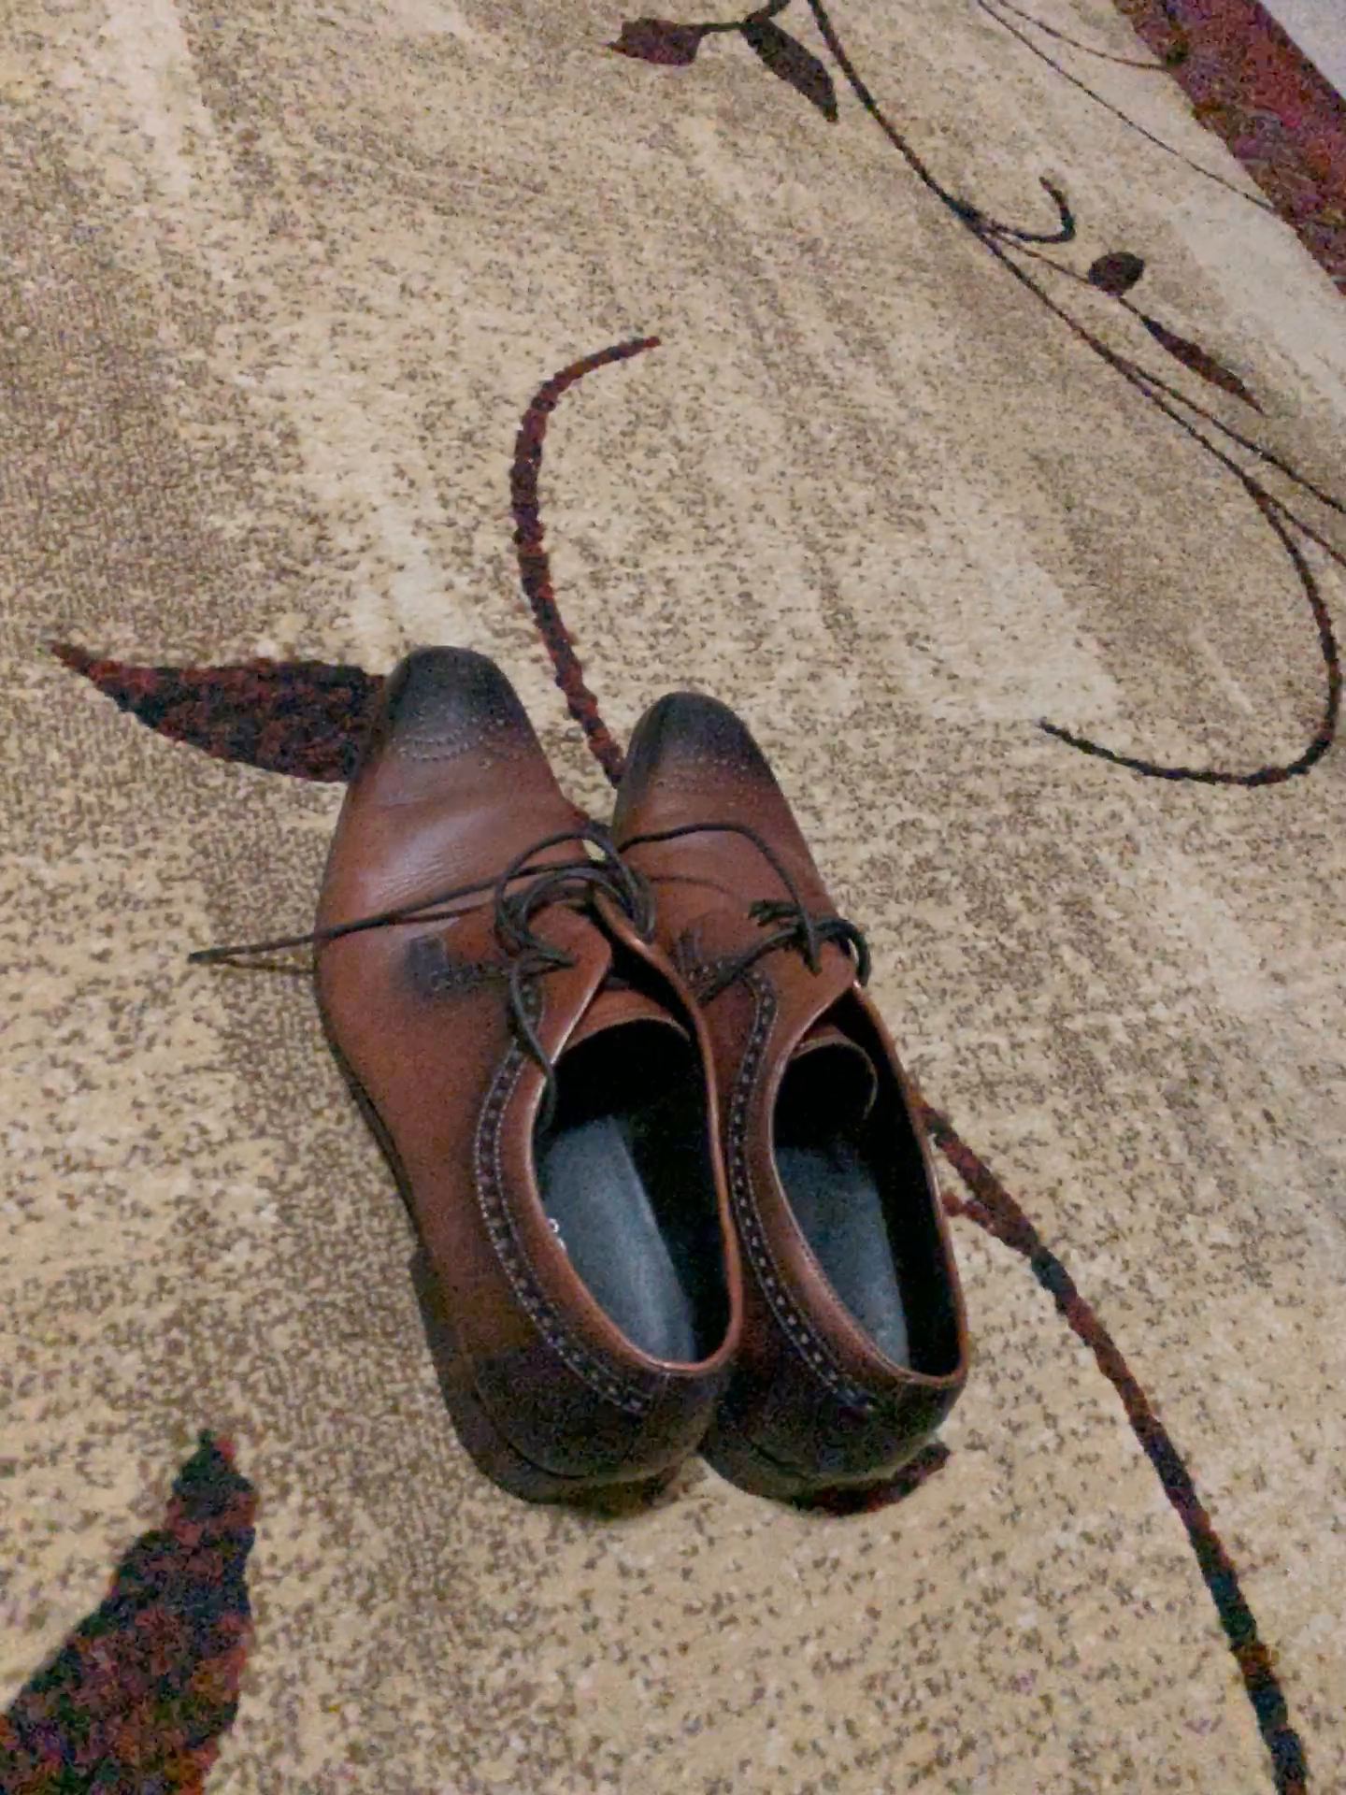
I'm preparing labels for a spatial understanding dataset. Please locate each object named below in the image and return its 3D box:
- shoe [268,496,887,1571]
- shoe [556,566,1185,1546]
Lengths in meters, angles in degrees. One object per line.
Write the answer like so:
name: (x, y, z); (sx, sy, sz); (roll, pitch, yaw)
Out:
shoe: (-0.049, 0.030, 0.419); (0.100, 0.115, 0.287); (1, 58, -27)
shoe: (0.044, 0.043, 0.457); (0.100, 0.115, 0.287); (5, 56, -25)
